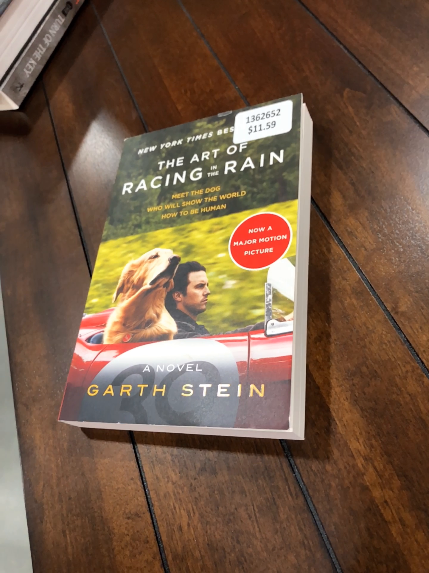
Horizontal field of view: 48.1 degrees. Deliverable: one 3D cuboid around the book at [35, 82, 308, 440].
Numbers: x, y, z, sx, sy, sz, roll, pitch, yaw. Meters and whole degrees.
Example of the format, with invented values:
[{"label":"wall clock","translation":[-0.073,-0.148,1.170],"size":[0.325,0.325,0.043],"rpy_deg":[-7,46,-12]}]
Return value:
[{"label":"book","translation":[-0.018,-0.021,0.293],"size":[0.140,0.028,0.210],"rpy_deg":[-6,61,24]}]
